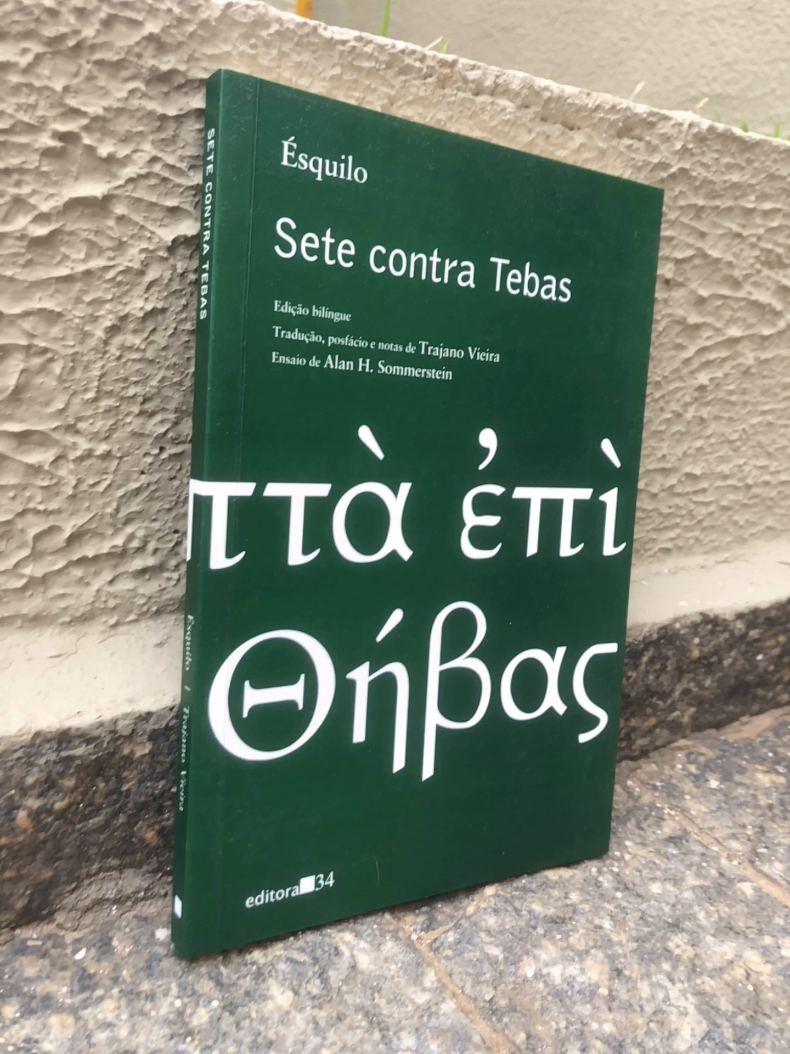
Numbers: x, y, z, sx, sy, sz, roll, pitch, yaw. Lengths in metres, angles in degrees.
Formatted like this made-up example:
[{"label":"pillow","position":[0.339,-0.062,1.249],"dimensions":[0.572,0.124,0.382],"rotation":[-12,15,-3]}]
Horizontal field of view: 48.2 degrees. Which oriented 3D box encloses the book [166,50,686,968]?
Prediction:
[{"label":"book","position":[0.014,-0.003,0.230],"dimensions":[0.140,0.196,0.020],"rotation":[-2,5,-28]}]
